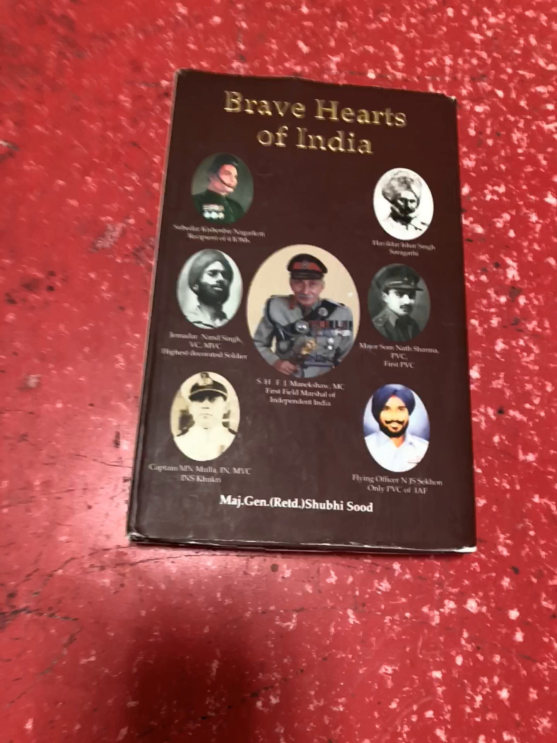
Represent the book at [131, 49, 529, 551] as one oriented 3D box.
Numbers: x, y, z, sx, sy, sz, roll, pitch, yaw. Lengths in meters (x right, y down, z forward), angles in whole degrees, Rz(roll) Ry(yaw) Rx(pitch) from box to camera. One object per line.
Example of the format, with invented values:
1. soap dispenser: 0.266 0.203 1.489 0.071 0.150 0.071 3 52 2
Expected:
1. book: 0.024 -0.038 0.279 0.150 0.030 0.220 4 73 -3
